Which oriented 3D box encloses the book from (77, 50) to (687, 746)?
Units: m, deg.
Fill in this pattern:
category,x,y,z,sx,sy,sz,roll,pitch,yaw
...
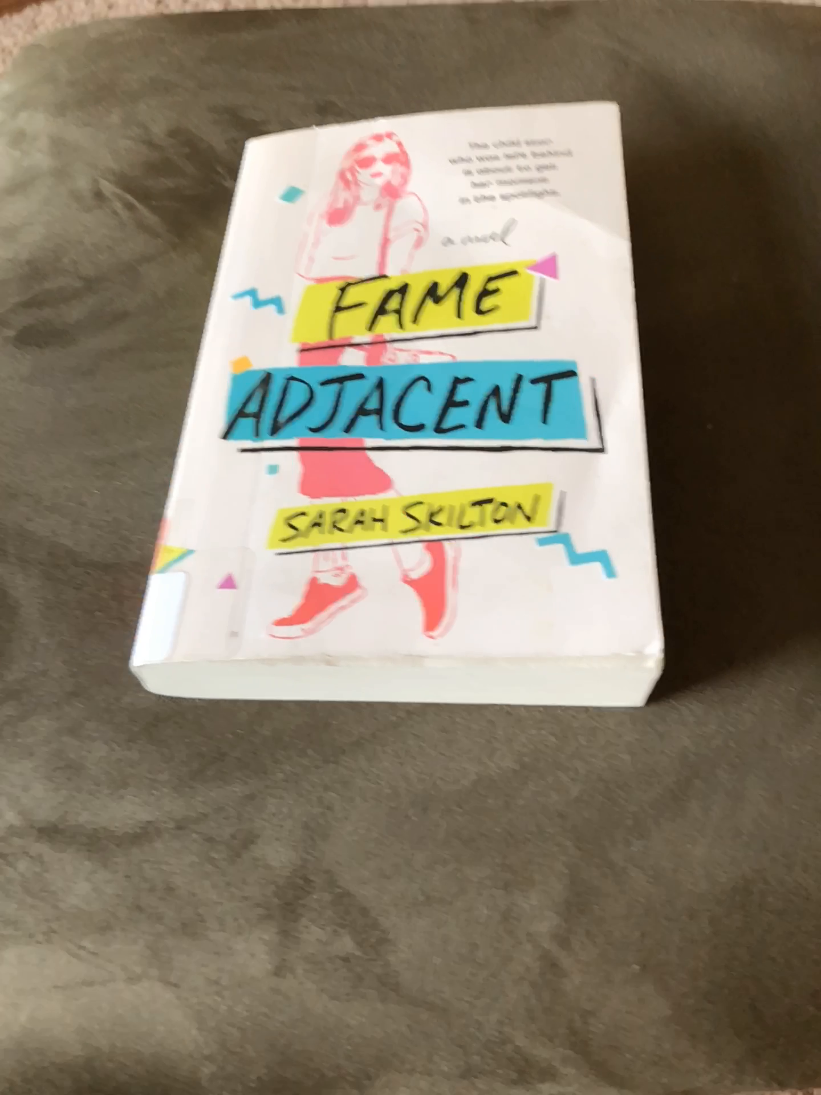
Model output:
category,x,y,z,sx,sy,sz,roll,pitch,yaw
book,0.001,-0.056,0.275,0.140,0.040,0.220,-1,61,11
